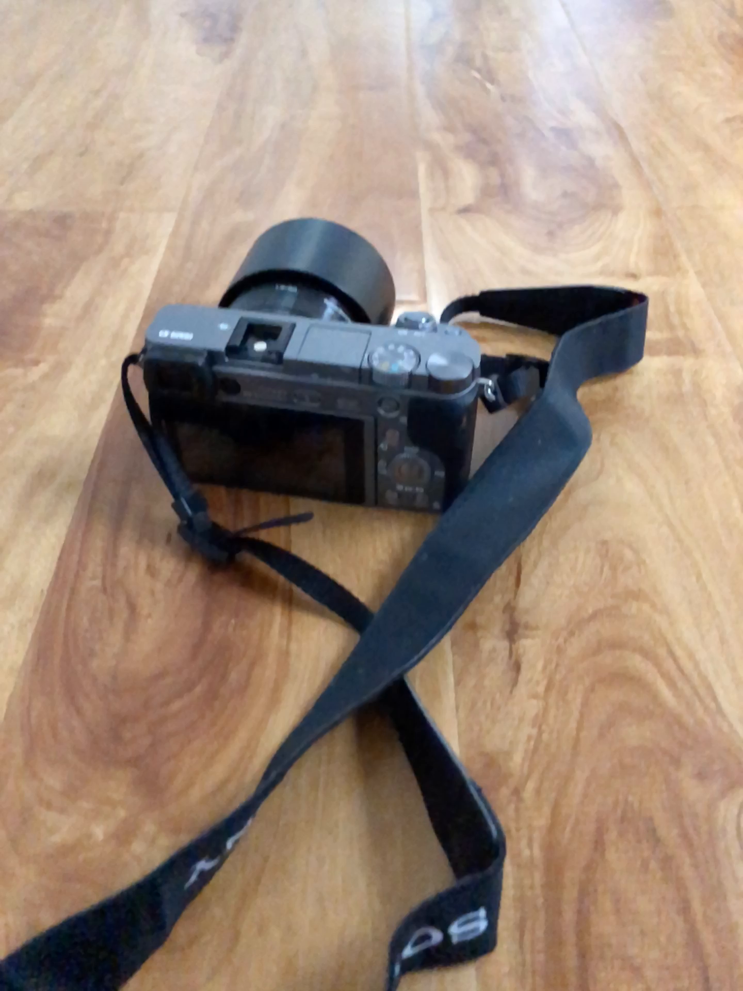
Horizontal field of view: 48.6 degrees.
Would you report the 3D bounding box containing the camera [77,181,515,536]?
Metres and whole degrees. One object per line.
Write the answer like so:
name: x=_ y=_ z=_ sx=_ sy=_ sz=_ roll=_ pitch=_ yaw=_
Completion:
camera: x=-0.020 y=-0.060 z=0.336 sx=0.140 sy=0.080 sz=0.111 roll=7 pitch=46 yaw=8
